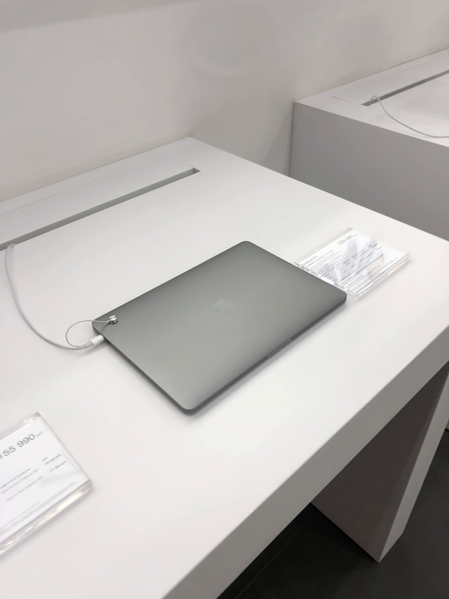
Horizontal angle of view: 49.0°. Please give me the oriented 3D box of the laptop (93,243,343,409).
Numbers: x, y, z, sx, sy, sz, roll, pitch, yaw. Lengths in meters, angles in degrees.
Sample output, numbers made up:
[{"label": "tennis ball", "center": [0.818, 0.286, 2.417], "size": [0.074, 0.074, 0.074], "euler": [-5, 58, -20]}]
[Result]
[{"label": "laptop", "center": [-0.004, 0.014, 0.691], "size": [0.293, 0.001, 0.199], "euler": [-30, 48, -32]}]
